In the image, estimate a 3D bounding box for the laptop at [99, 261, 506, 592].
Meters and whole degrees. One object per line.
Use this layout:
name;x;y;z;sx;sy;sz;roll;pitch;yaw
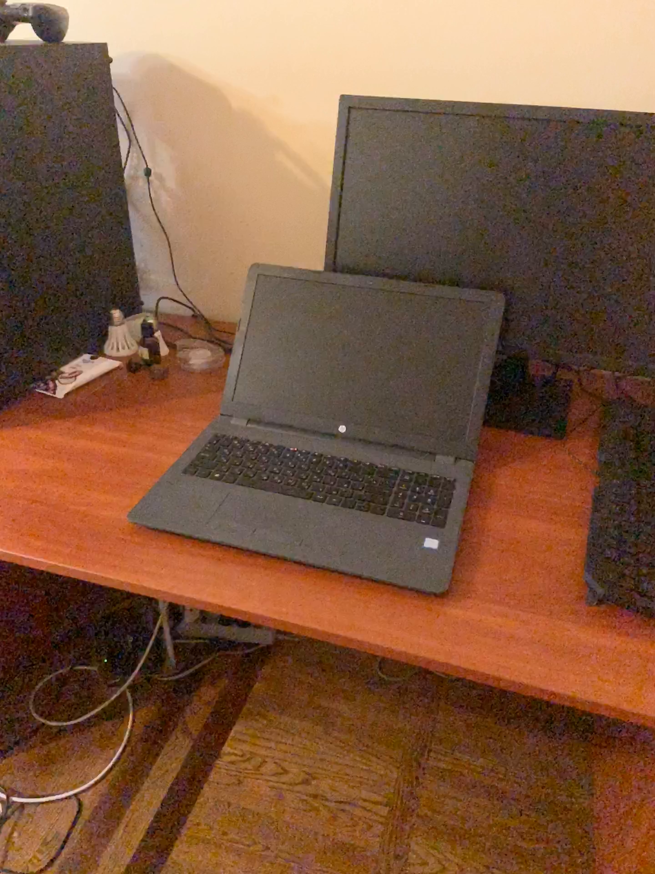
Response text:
laptop;0.004;-0.052;0.831;0.372;0.188;0.393;10;32;13
